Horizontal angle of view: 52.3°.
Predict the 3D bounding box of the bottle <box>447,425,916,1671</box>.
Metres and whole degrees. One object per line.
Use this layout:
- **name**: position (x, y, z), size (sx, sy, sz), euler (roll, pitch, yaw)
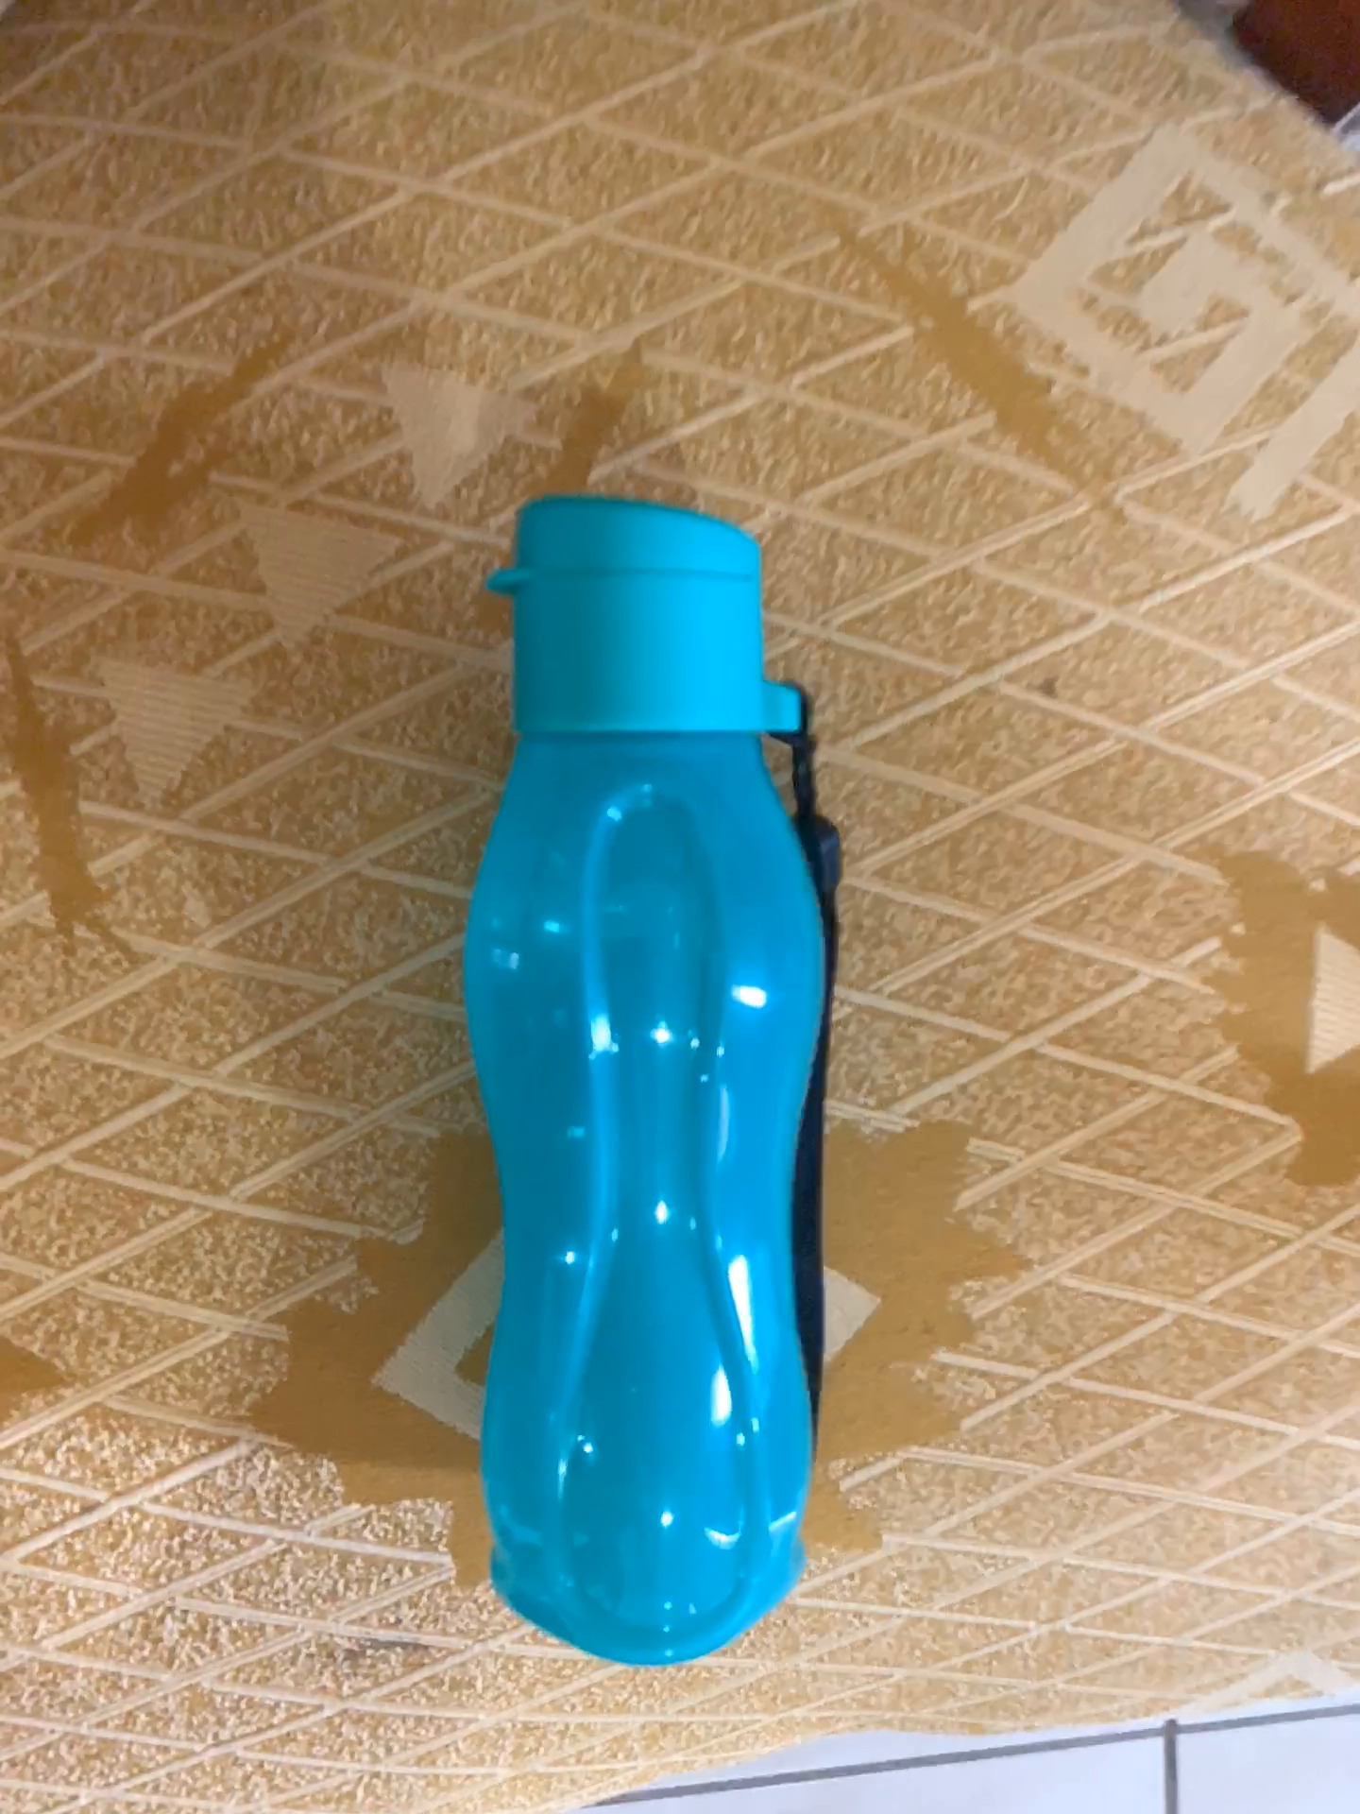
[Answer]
- **bottle**: position (-0.003, 0.025, 0.247), size (0.070, 0.050, 0.200), euler (1, 96, -5)
